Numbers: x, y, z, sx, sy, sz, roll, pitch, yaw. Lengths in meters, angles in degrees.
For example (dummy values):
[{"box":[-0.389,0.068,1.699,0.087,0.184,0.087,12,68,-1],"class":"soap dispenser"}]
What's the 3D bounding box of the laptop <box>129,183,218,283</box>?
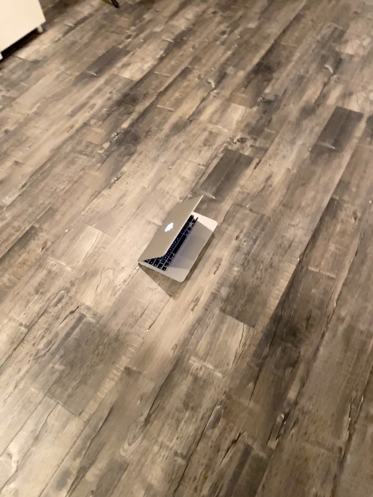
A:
[{"box":[-0.038,-0.061,1.362,0.193,0.132,0.292,21,61,17],"class":"laptop"}]
